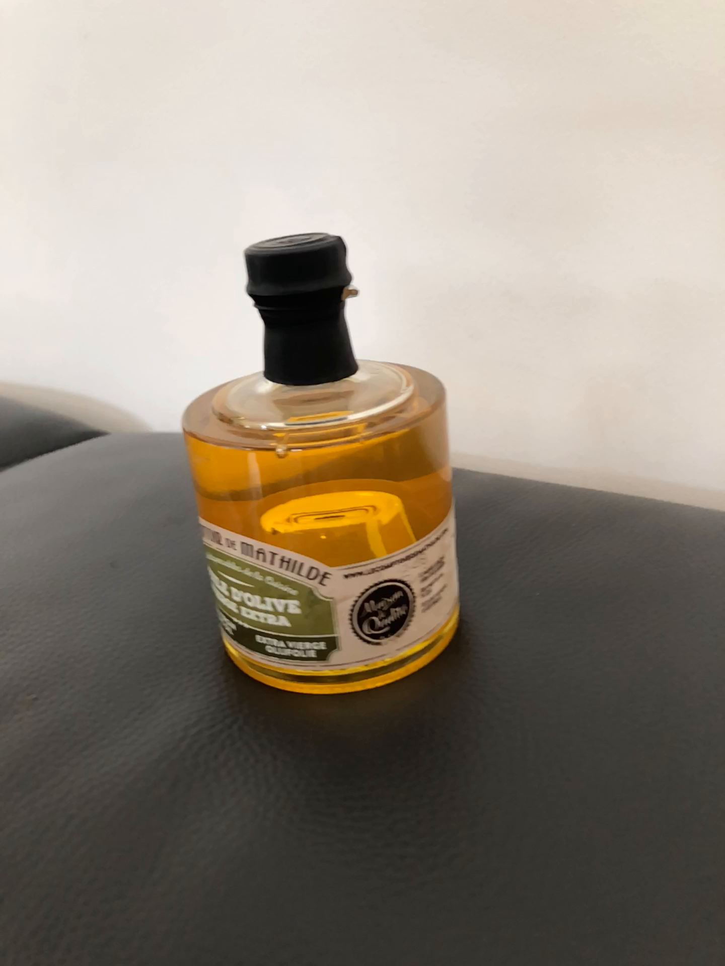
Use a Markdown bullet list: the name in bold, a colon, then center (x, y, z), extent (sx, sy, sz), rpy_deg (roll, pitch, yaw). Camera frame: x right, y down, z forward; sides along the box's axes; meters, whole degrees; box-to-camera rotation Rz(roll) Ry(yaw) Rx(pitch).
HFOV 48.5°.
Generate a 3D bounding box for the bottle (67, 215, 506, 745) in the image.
- **bottle**: center (-0.018, -0.012, 0.258), extent (0.090, 0.129, 0.090), rpy_deg (-4, 24, 2)
